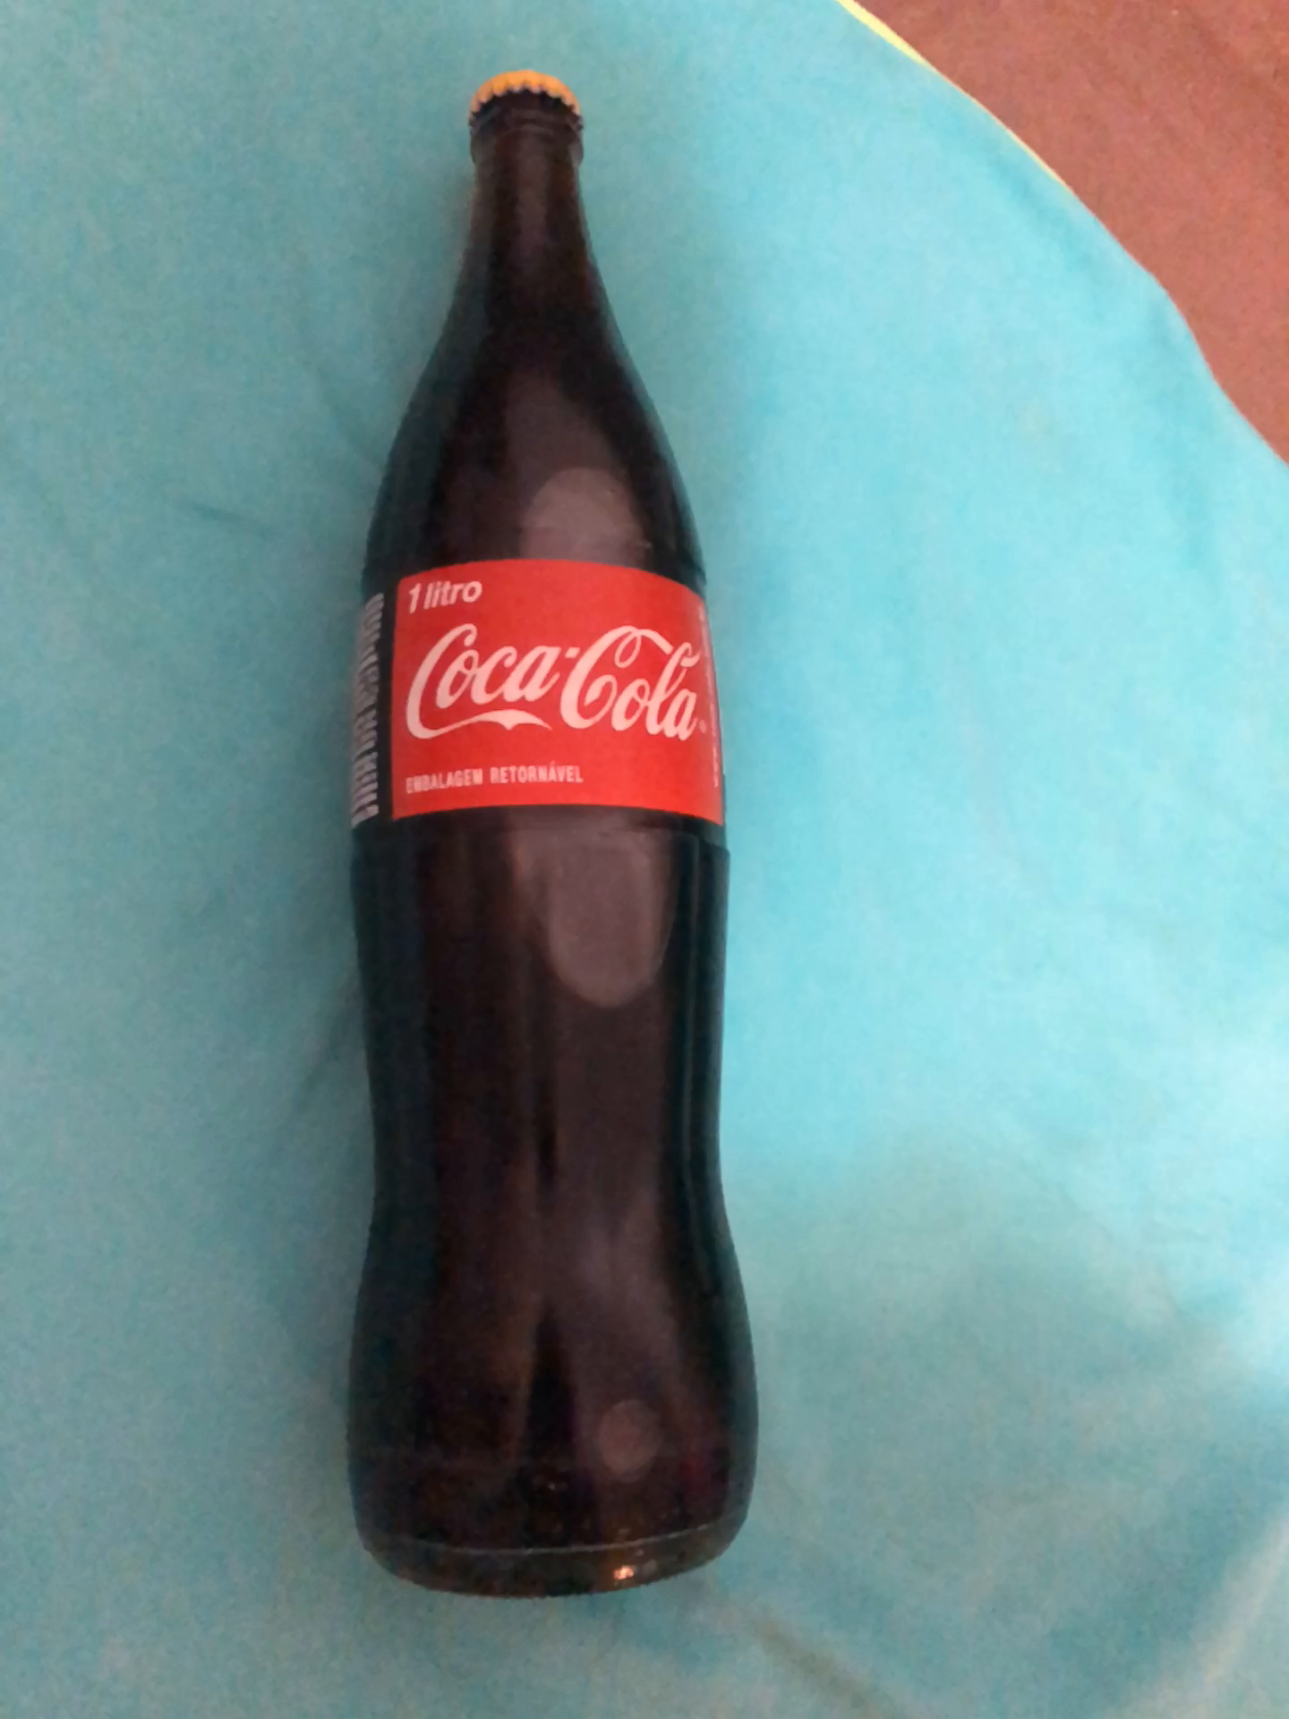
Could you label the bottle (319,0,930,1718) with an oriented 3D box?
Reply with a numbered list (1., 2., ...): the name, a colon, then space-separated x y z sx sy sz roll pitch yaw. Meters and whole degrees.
1. bottle: -0.014 -0.027 0.311 0.100 0.070 0.360 2 79 -23
